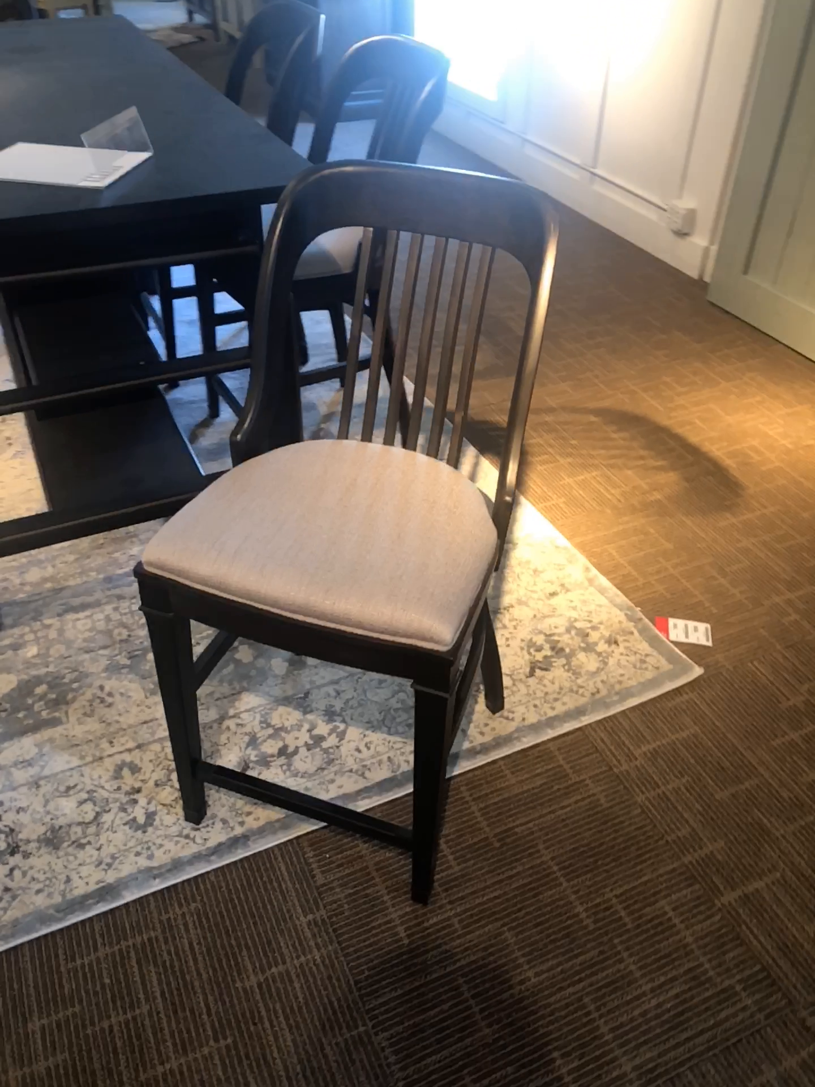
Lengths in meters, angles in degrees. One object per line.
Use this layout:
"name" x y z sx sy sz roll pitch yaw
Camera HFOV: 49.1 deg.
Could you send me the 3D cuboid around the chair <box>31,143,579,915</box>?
"chair" -0.084 -0.009 1.397 0.480 0.985 0.573 12 39 14
